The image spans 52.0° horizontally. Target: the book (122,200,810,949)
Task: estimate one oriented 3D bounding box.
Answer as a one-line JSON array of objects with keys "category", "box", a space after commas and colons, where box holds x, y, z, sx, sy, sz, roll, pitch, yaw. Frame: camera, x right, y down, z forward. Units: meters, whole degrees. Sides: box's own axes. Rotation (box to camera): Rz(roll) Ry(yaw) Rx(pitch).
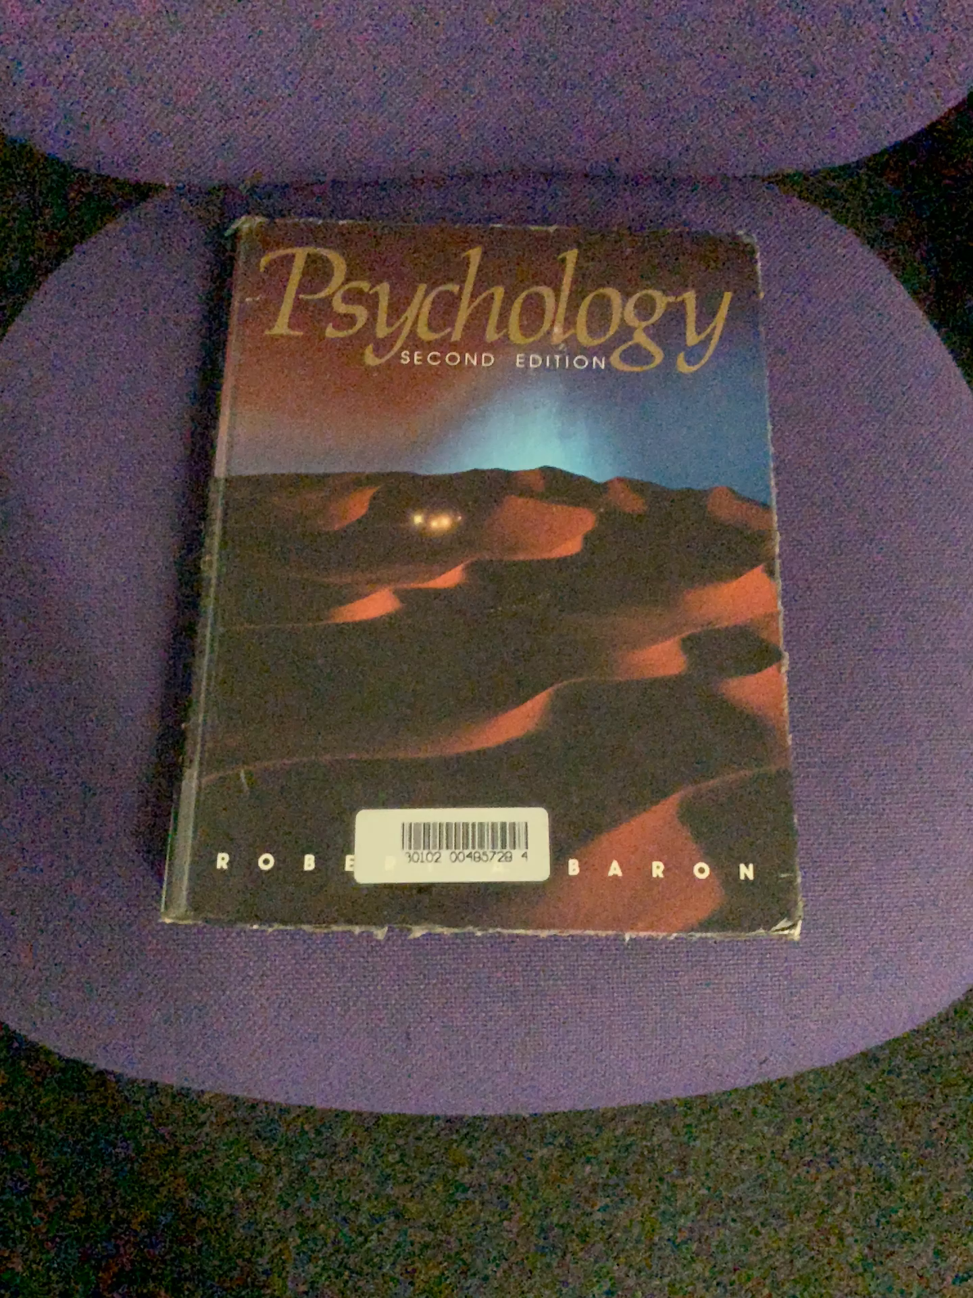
[{"category": "book", "box": [-0.003, -0.035, 0.386, 0.230, 0.040, 0.281, 2, 77, -1]}]
